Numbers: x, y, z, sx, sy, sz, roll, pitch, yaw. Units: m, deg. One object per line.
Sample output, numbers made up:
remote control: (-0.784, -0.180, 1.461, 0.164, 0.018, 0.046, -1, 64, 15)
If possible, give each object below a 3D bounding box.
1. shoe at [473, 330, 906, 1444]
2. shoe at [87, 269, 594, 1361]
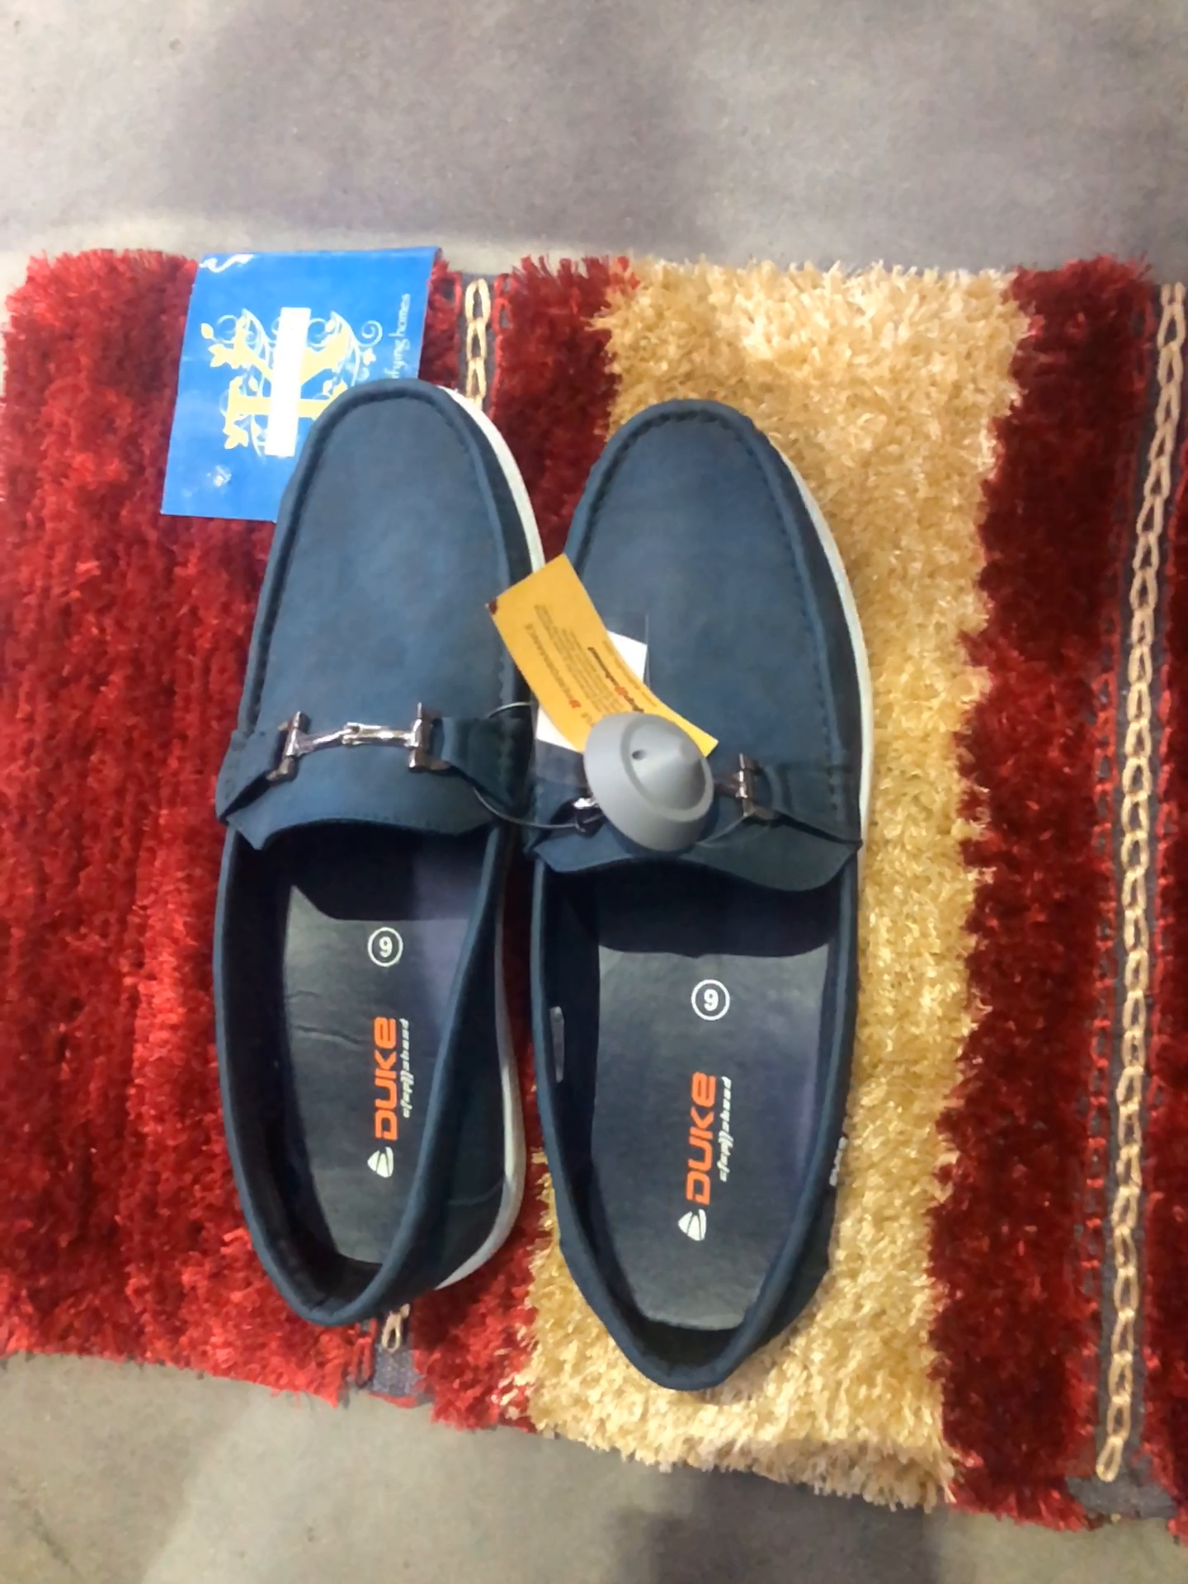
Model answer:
shoe: (0.033, 0.021, 0.382, 0.100, 0.090, 0.280, 2, 84, 9)
shoe: (-0.066, 0.004, 0.388, 0.110, 0.090, 0.280, 1, 84, 9)
